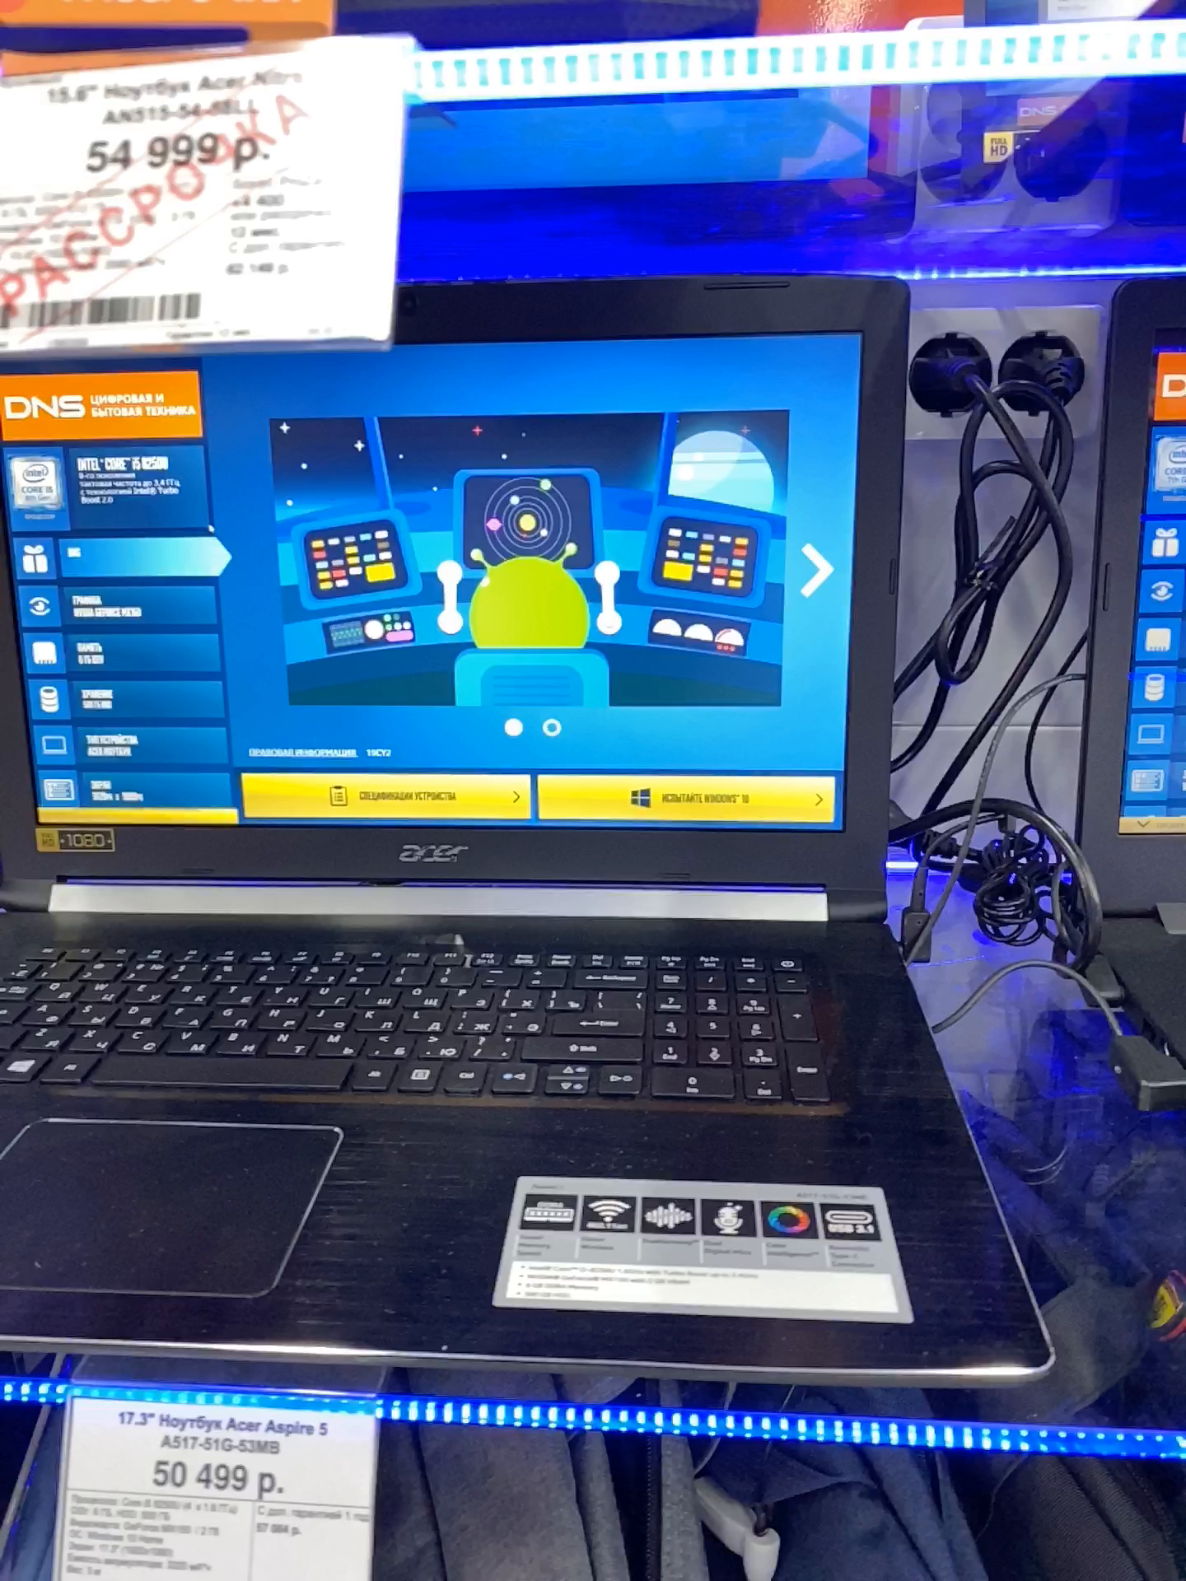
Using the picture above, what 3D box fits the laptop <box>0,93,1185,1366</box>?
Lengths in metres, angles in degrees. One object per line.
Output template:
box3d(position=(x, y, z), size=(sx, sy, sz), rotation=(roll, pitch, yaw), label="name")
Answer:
box3d(position=(-0.094, -0.039, 0.425), size=(0.424, 0.278, 0.312), rotation=(0, 17, 4), label="laptop")
